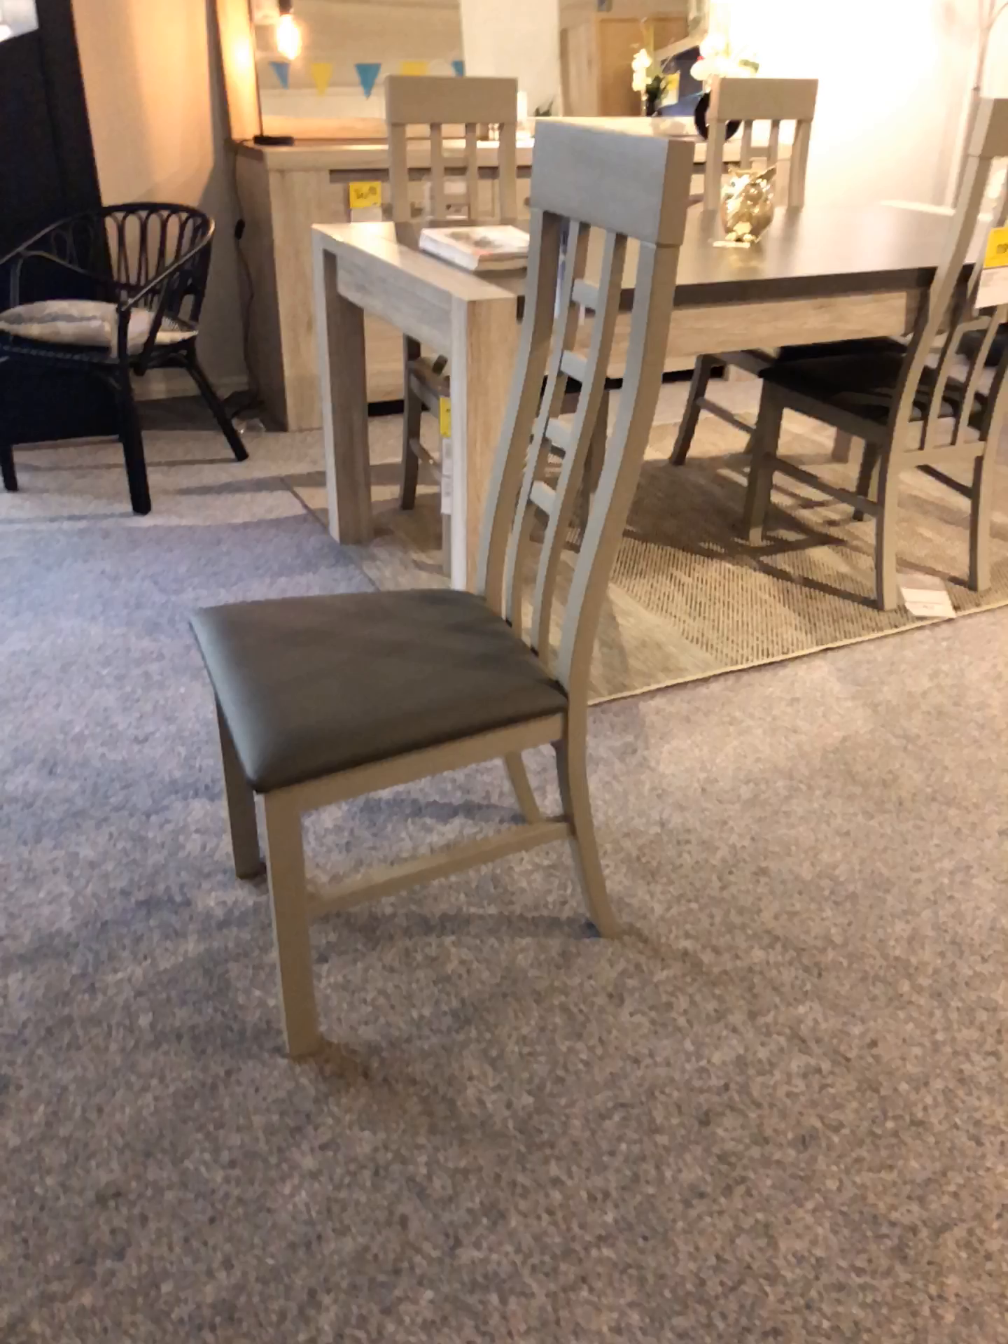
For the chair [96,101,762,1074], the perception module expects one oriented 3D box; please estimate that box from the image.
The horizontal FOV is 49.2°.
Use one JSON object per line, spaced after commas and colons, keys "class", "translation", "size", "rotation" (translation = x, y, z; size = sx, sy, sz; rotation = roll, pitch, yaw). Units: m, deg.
{"class": "chair", "translation": [-0.119, -0.130, 1.371], "size": [0.551, 1.014, 0.512], "rotation": [-10, 30, -20]}
